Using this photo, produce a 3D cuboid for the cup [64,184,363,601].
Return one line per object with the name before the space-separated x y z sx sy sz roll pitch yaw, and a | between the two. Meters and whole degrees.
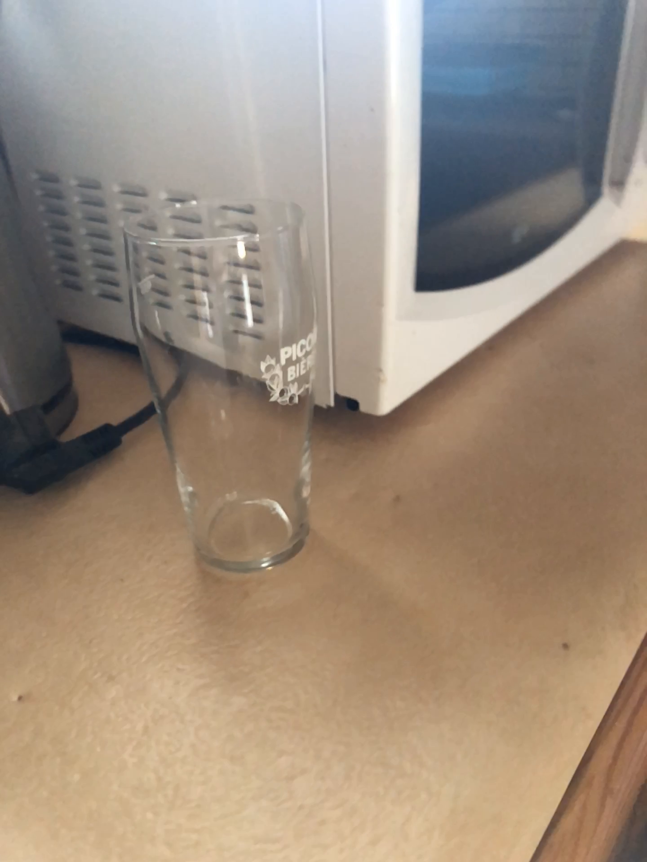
cup | -0.032 -0.017 0.272 0.070 0.129 0.070 -2 29 1
